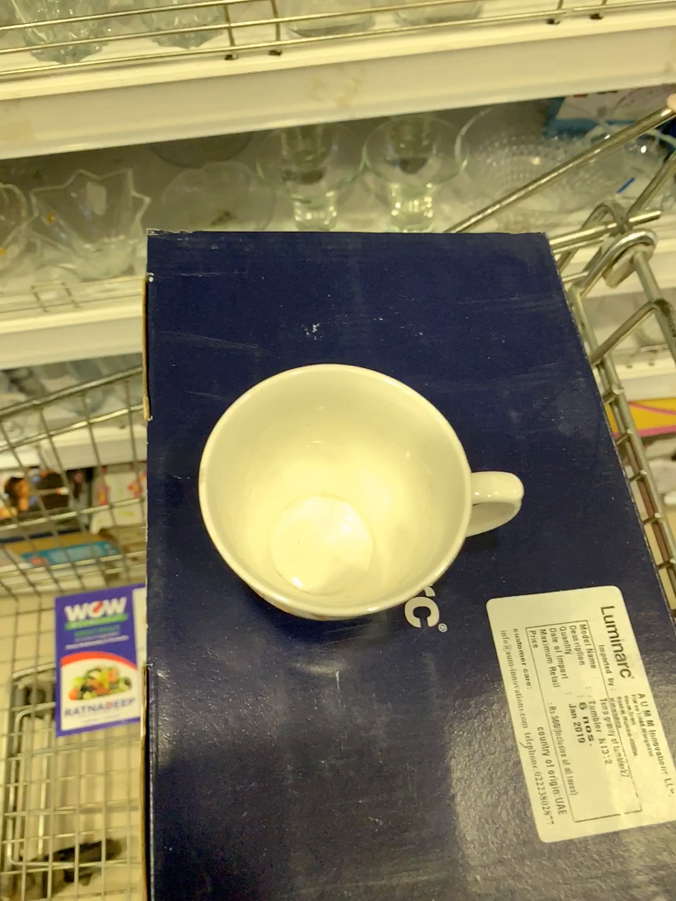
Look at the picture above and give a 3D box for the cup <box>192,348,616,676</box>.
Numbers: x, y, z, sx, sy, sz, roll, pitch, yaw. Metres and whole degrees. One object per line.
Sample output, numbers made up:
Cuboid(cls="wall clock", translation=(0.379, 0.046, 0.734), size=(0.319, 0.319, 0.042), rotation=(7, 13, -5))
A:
Cuboid(cls="cup", translation=(0.011, 0.016, 0.180), size=(0.090, 0.040, 0.070), rotation=(-2, 64, -5))
